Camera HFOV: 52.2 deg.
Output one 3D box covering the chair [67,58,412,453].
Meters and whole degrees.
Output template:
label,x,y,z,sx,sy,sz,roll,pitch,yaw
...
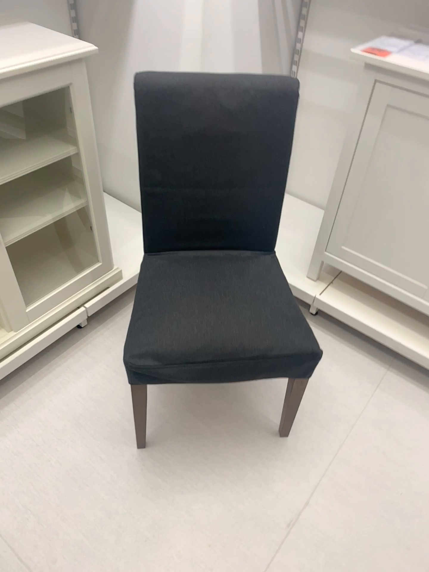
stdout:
label,x,y,z,sx,sy,sz,roll,pitch,yaw
chair,-0.005,-0.058,1.183,0.540,0.837,0.612,-2,44,-7
